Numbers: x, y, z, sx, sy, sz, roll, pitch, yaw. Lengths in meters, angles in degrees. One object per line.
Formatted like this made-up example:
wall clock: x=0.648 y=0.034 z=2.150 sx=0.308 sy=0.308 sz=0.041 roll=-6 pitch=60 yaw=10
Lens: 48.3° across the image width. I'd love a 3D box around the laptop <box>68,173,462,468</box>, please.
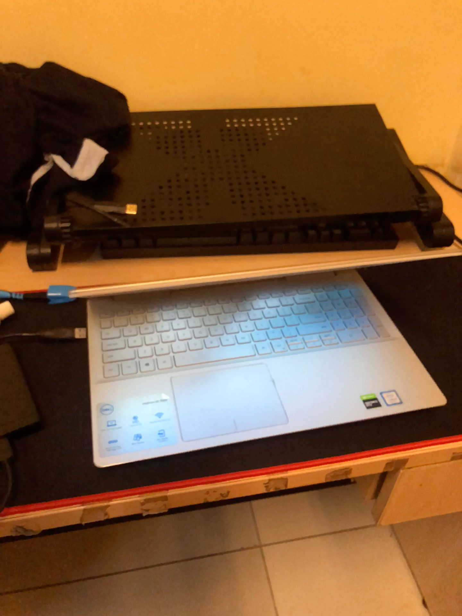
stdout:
laptop: x=0.027 y=-0.006 z=0.529 sx=0.351 sy=0.139 sz=0.219 roll=-8 pitch=43 yaw=-11
